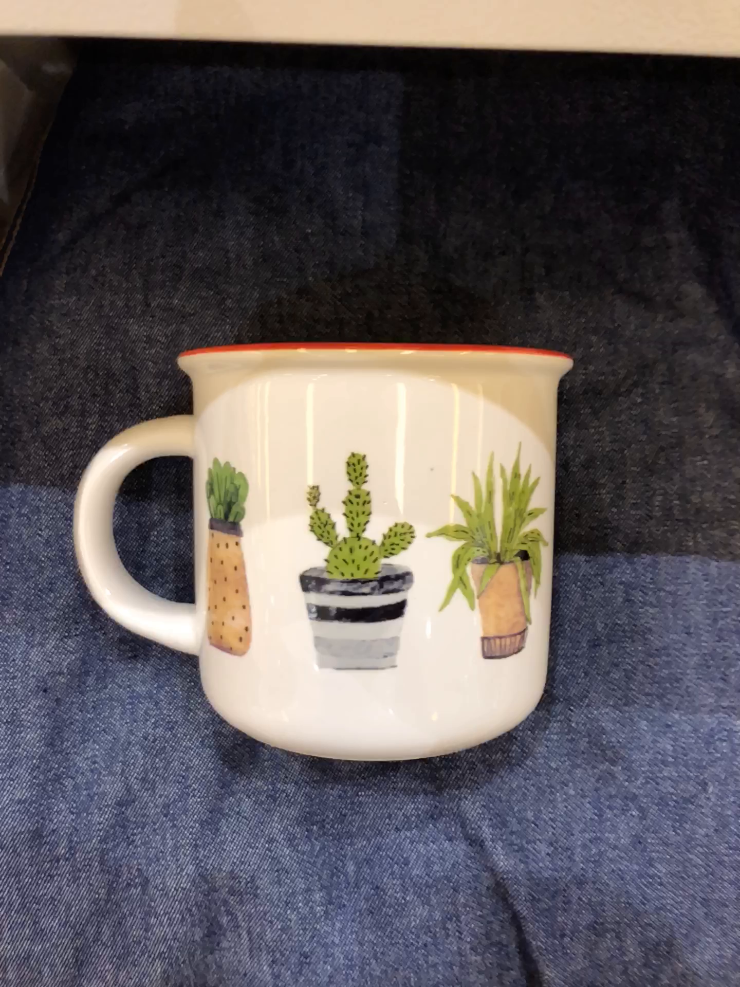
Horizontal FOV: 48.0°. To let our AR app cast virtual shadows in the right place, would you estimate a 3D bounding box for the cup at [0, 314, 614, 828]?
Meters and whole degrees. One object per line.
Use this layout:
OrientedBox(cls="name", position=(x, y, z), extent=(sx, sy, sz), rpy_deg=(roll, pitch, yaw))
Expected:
OrientedBox(cls="cup", position=(-0.020, 0.015, 0.210), extent=(0.140, 0.090, 0.100), rpy_deg=(0, 90, 3))
